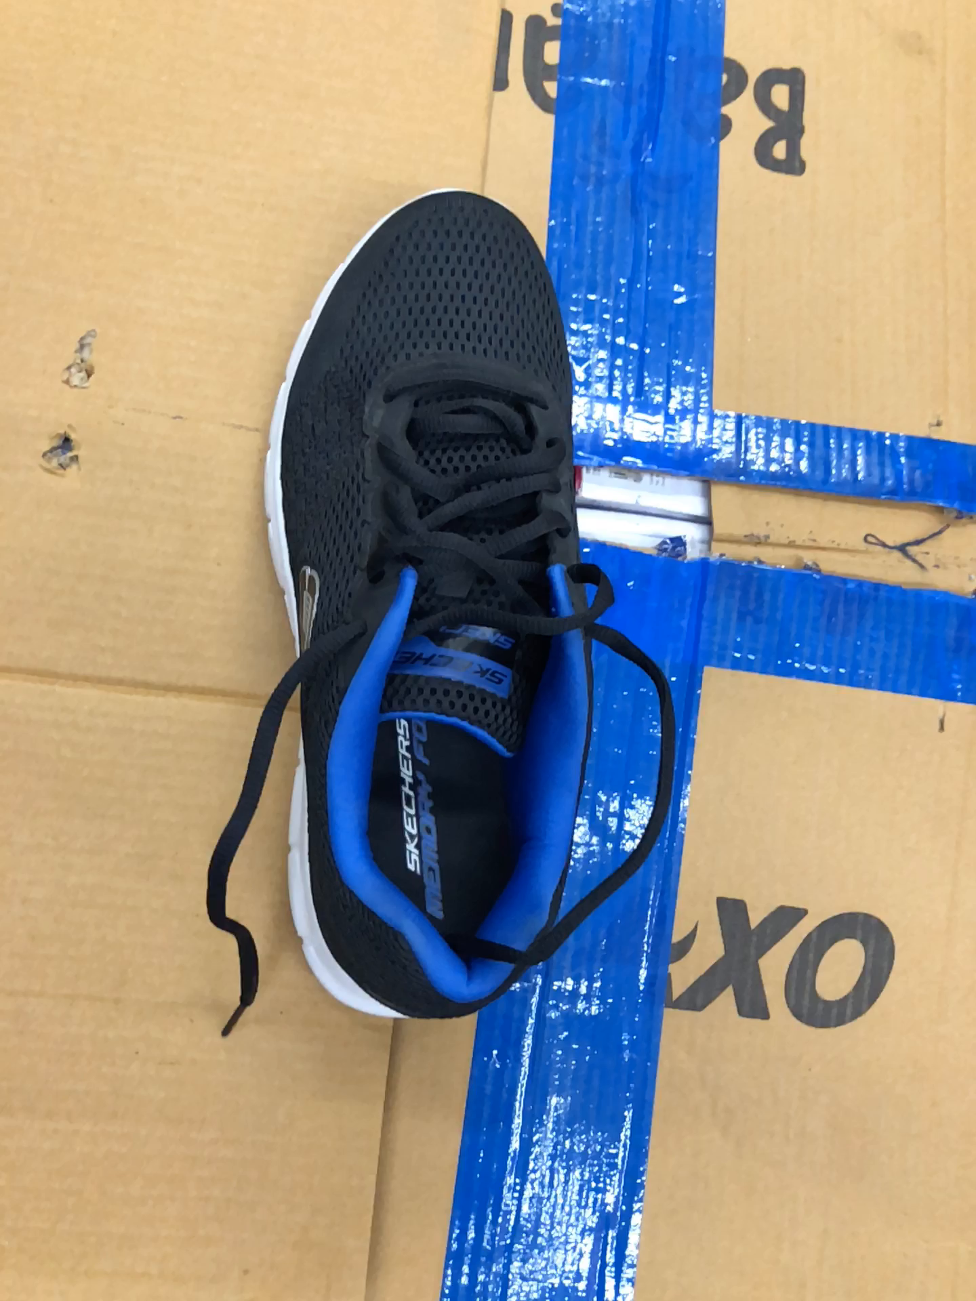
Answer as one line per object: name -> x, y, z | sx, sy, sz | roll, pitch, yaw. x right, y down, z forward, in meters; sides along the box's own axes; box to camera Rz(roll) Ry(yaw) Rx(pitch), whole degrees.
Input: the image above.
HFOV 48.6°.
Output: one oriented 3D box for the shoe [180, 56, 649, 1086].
shoe -> -0.022, -0.020, 0.346 | 0.114, 0.106, 0.278 | 4, 82, -9
